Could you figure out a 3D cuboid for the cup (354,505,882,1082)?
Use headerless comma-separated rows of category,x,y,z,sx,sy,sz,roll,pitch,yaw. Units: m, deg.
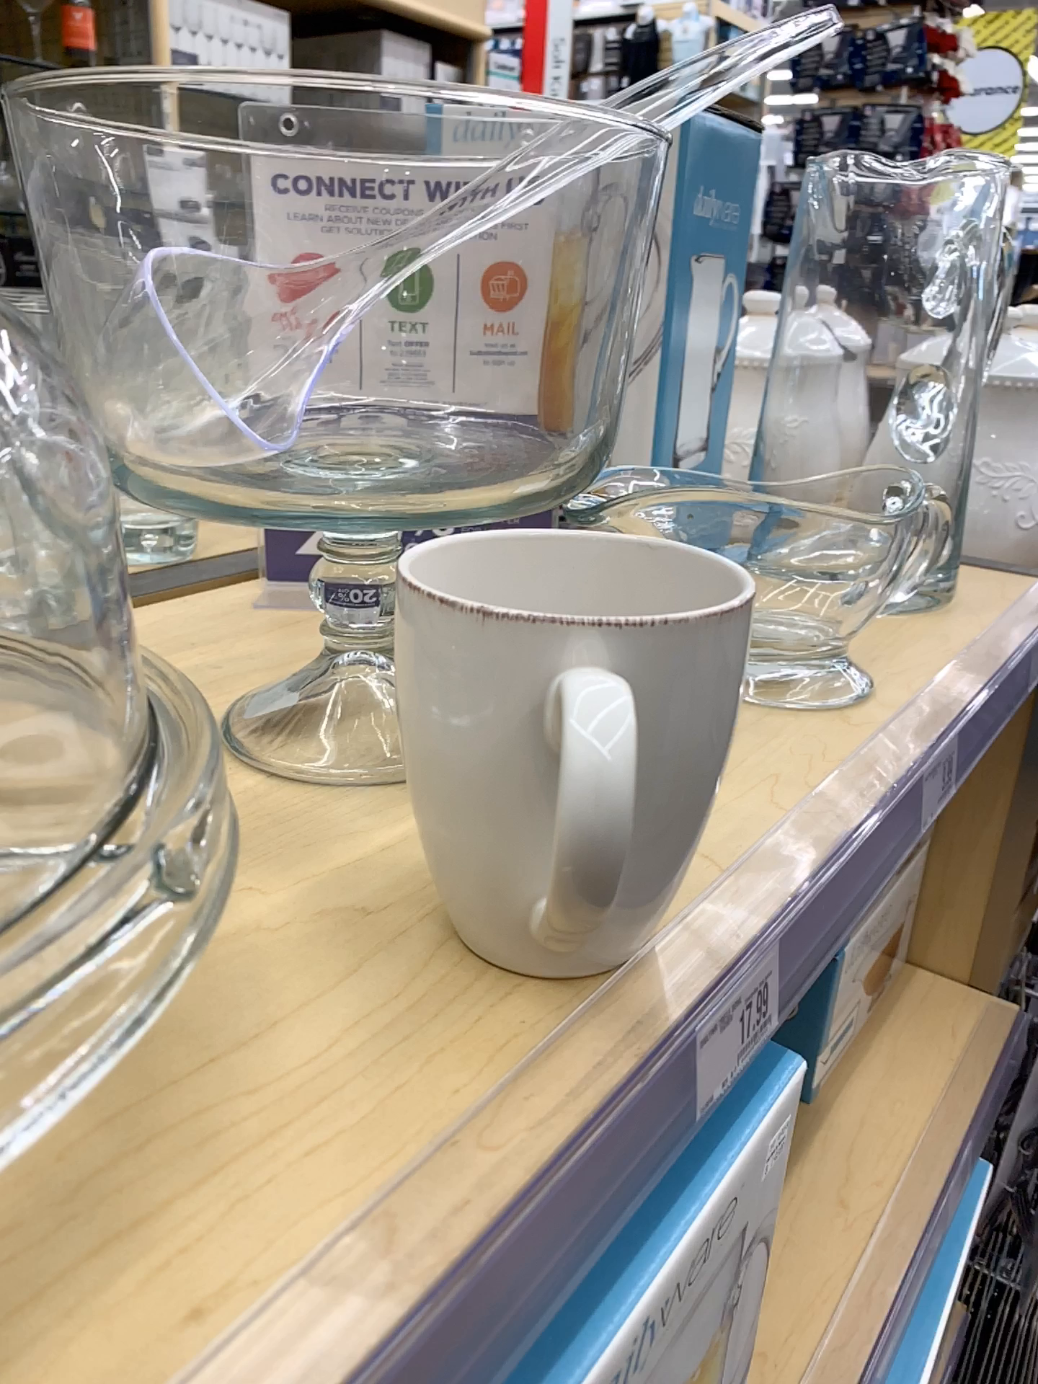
cup,0.014,0.015,0.277,0.096,0.094,0.131,4,21,-5
